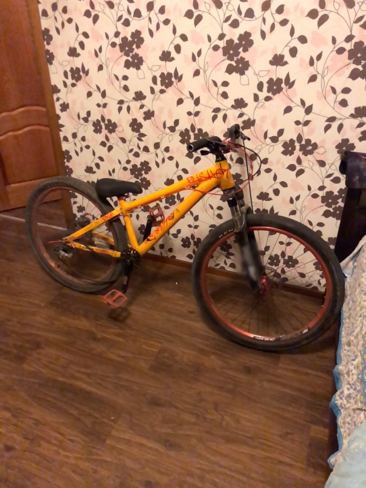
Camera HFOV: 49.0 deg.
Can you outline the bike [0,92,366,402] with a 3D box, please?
[{"bbox_3d":[-0.143,-0.122,1.882,1.677,1.005,0.663,10,33,23],"label":"bike"}]
